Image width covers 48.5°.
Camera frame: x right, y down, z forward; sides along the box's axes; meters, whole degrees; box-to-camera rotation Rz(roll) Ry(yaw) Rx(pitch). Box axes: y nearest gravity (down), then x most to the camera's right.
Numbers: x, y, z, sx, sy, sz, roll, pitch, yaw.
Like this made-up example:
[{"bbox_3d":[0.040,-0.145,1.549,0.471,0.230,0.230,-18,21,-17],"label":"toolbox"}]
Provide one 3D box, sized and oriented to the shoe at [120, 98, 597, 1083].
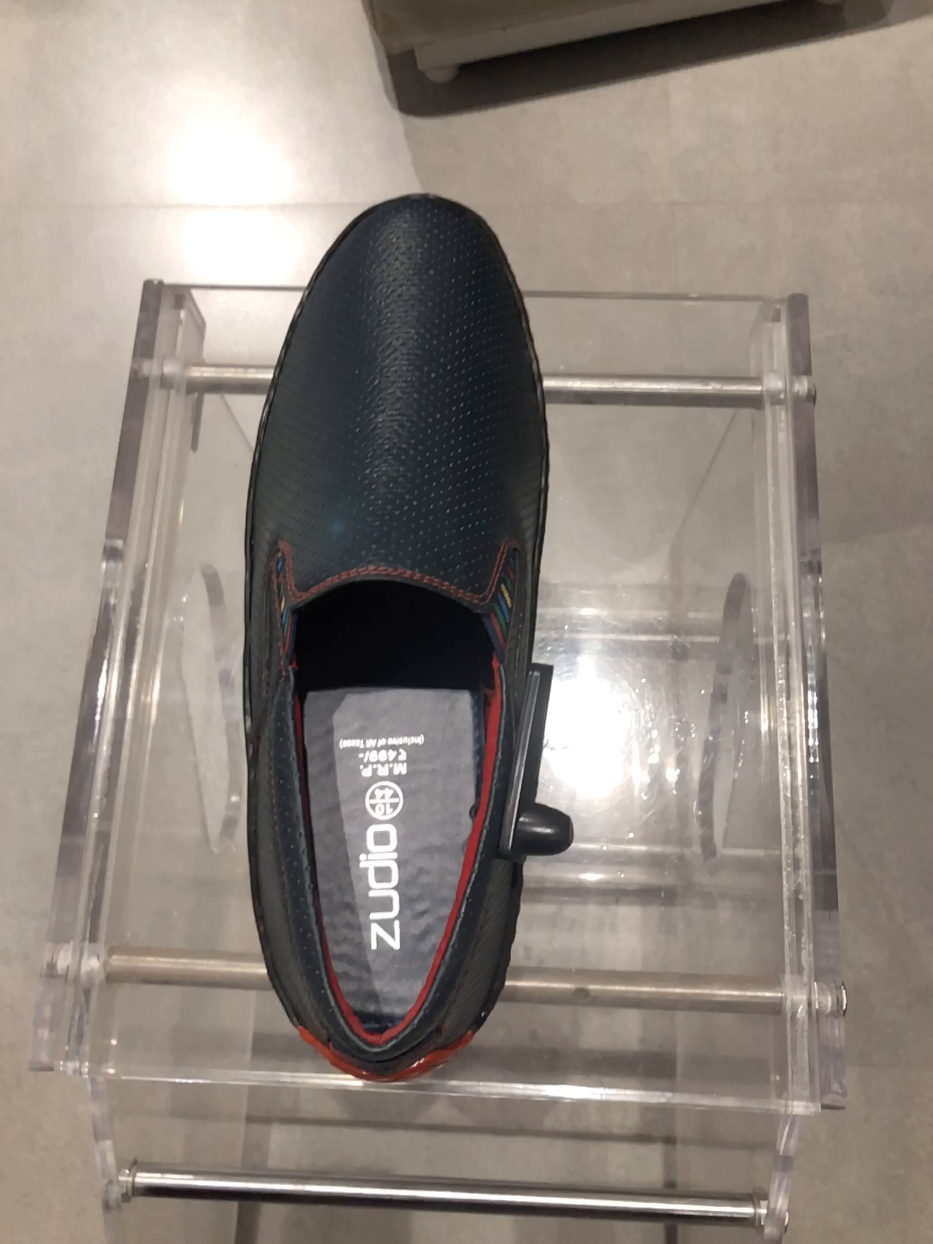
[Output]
[{"bbox_3d":[-0.024,-0.012,0.322,0.110,0.100,0.270,-1,75,2],"label":"shoe"}]
